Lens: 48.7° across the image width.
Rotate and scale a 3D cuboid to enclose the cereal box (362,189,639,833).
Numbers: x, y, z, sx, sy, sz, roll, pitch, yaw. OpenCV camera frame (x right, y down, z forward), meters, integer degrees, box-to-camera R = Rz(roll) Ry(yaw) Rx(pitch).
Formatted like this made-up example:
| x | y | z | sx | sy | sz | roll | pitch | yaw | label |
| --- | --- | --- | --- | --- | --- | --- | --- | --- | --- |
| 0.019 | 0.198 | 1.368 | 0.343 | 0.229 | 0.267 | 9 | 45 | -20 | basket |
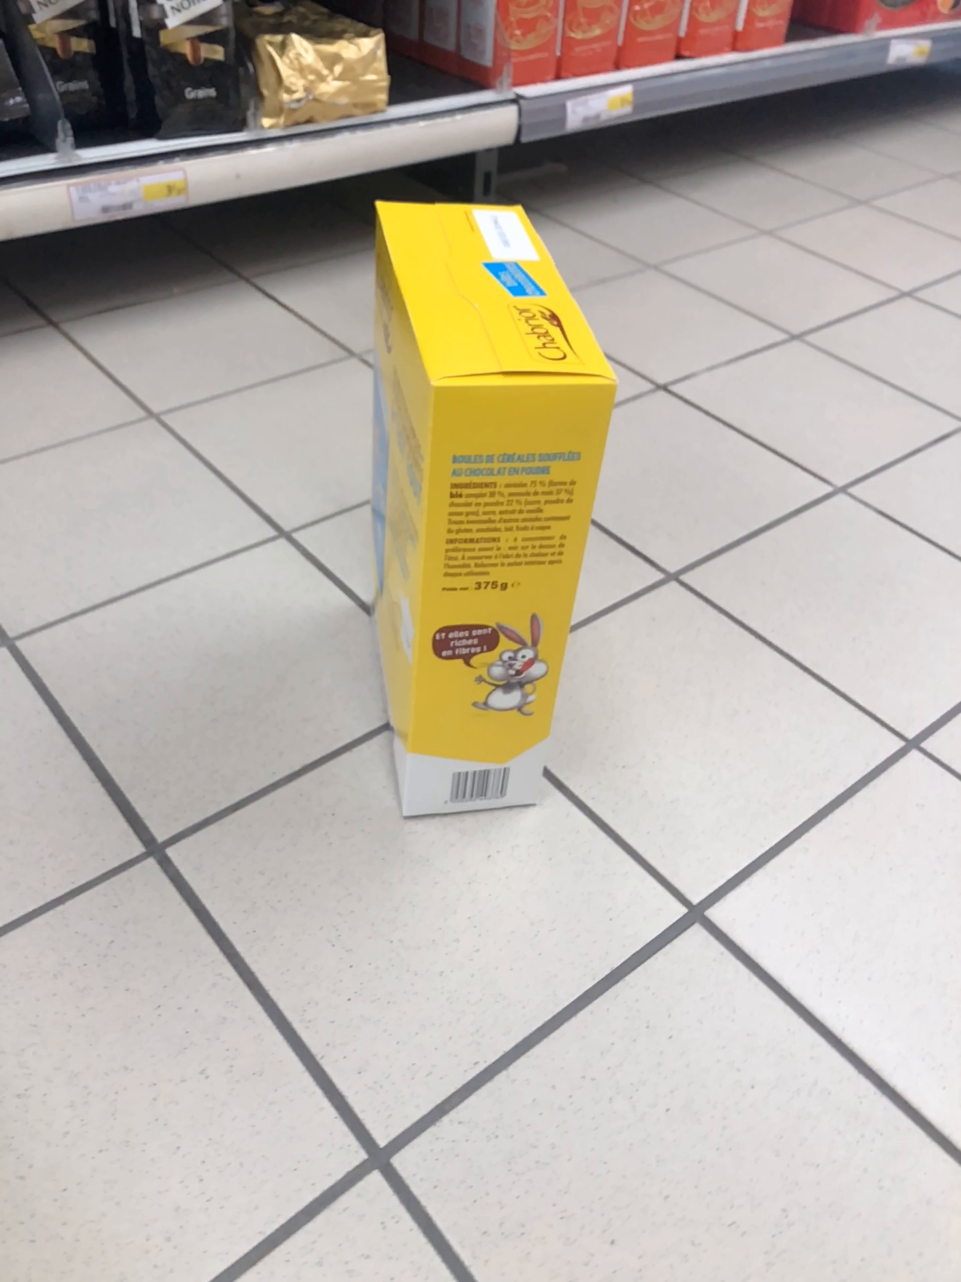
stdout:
| x | y | z | sx | sy | sz | roll | pitch | yaw | label |
| --- | --- | --- | --- | --- | --- | --- | --- | --- | --- |
| -0.009 | -0.067 | 0.564 | 0.090 | 0.268 | 0.201 | -3 | 41 | -10 | cereal box |
